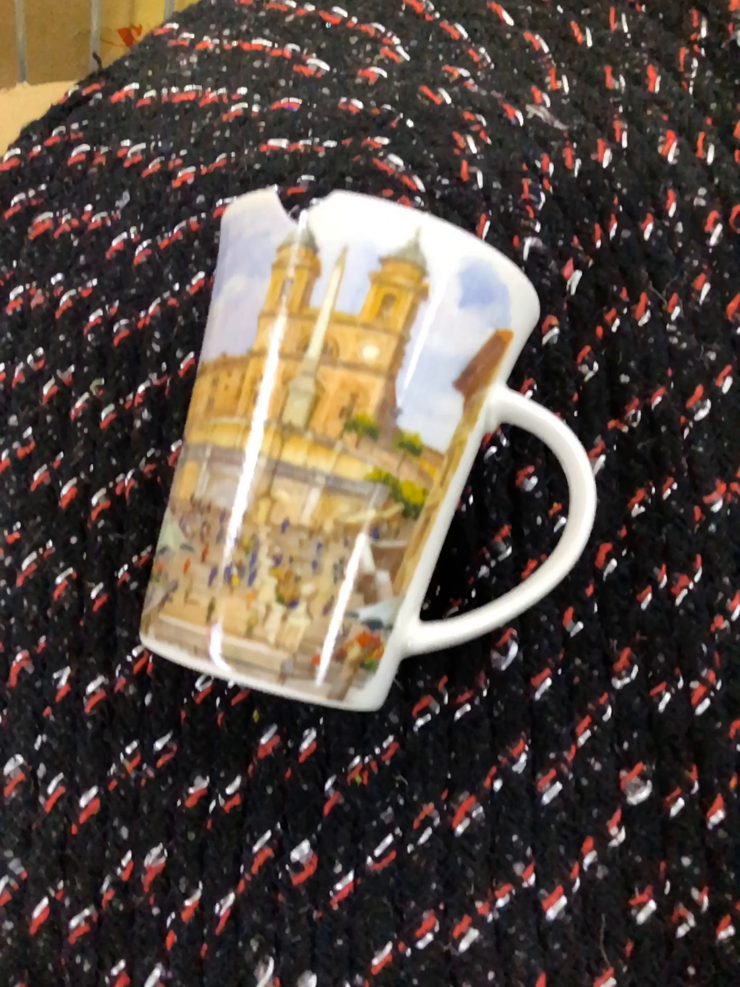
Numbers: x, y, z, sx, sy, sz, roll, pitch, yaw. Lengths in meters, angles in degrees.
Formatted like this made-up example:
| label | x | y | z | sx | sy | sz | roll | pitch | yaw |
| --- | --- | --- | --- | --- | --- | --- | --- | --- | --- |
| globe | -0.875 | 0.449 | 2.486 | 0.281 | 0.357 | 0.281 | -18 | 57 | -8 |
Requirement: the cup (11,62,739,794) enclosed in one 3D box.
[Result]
| label | x | y | z | sx | sy | sz | roll | pitch | yaw |
| --- | --- | --- | --- | --- | --- | --- | --- | --- | --- |
| cup | 0.006 | -0.010 | 0.192 | 0.110 | 0.090 | 0.110 | 0 | 80 | 0 |
